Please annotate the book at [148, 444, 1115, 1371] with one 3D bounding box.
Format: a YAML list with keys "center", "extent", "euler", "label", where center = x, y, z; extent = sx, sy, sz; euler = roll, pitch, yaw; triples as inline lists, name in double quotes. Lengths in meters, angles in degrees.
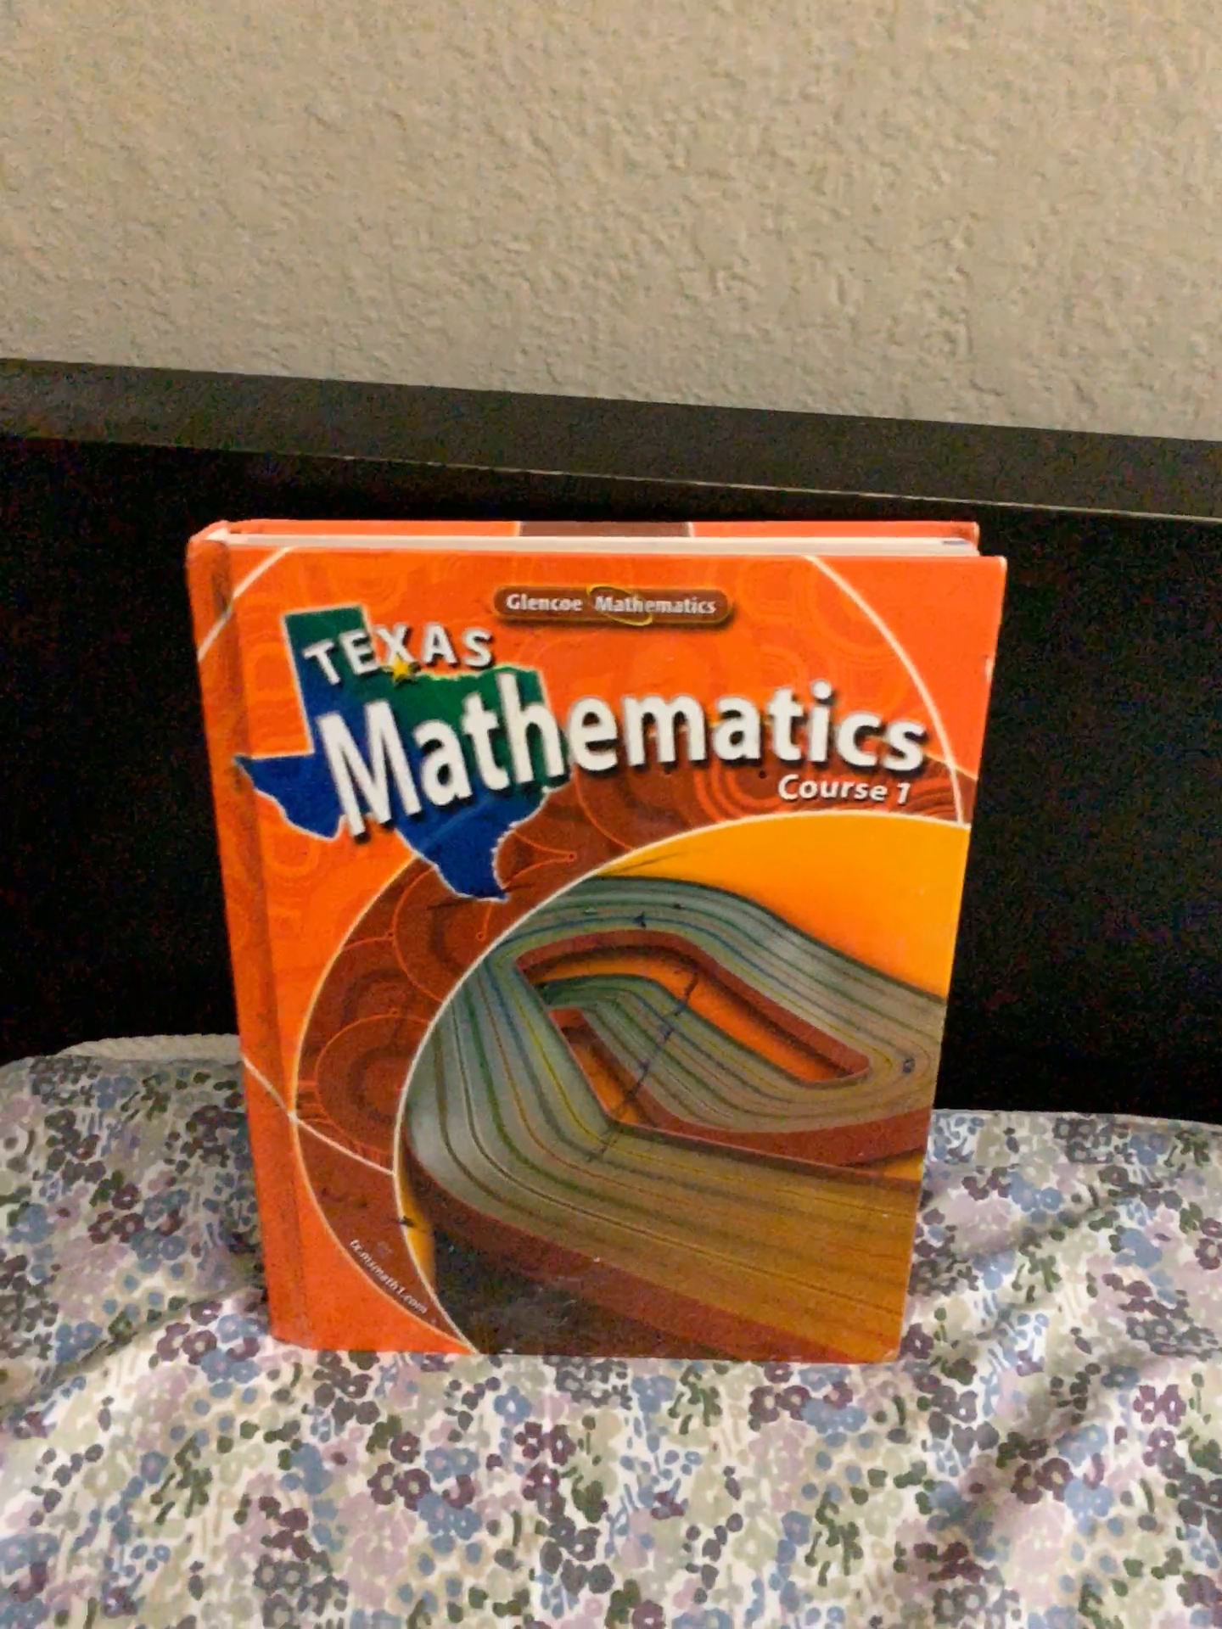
- center: [0.001, 0.047, 0.388]
  extent: [0.230, 0.299, 0.050]
  euler: [1, 27, -2]
  label: "book"
